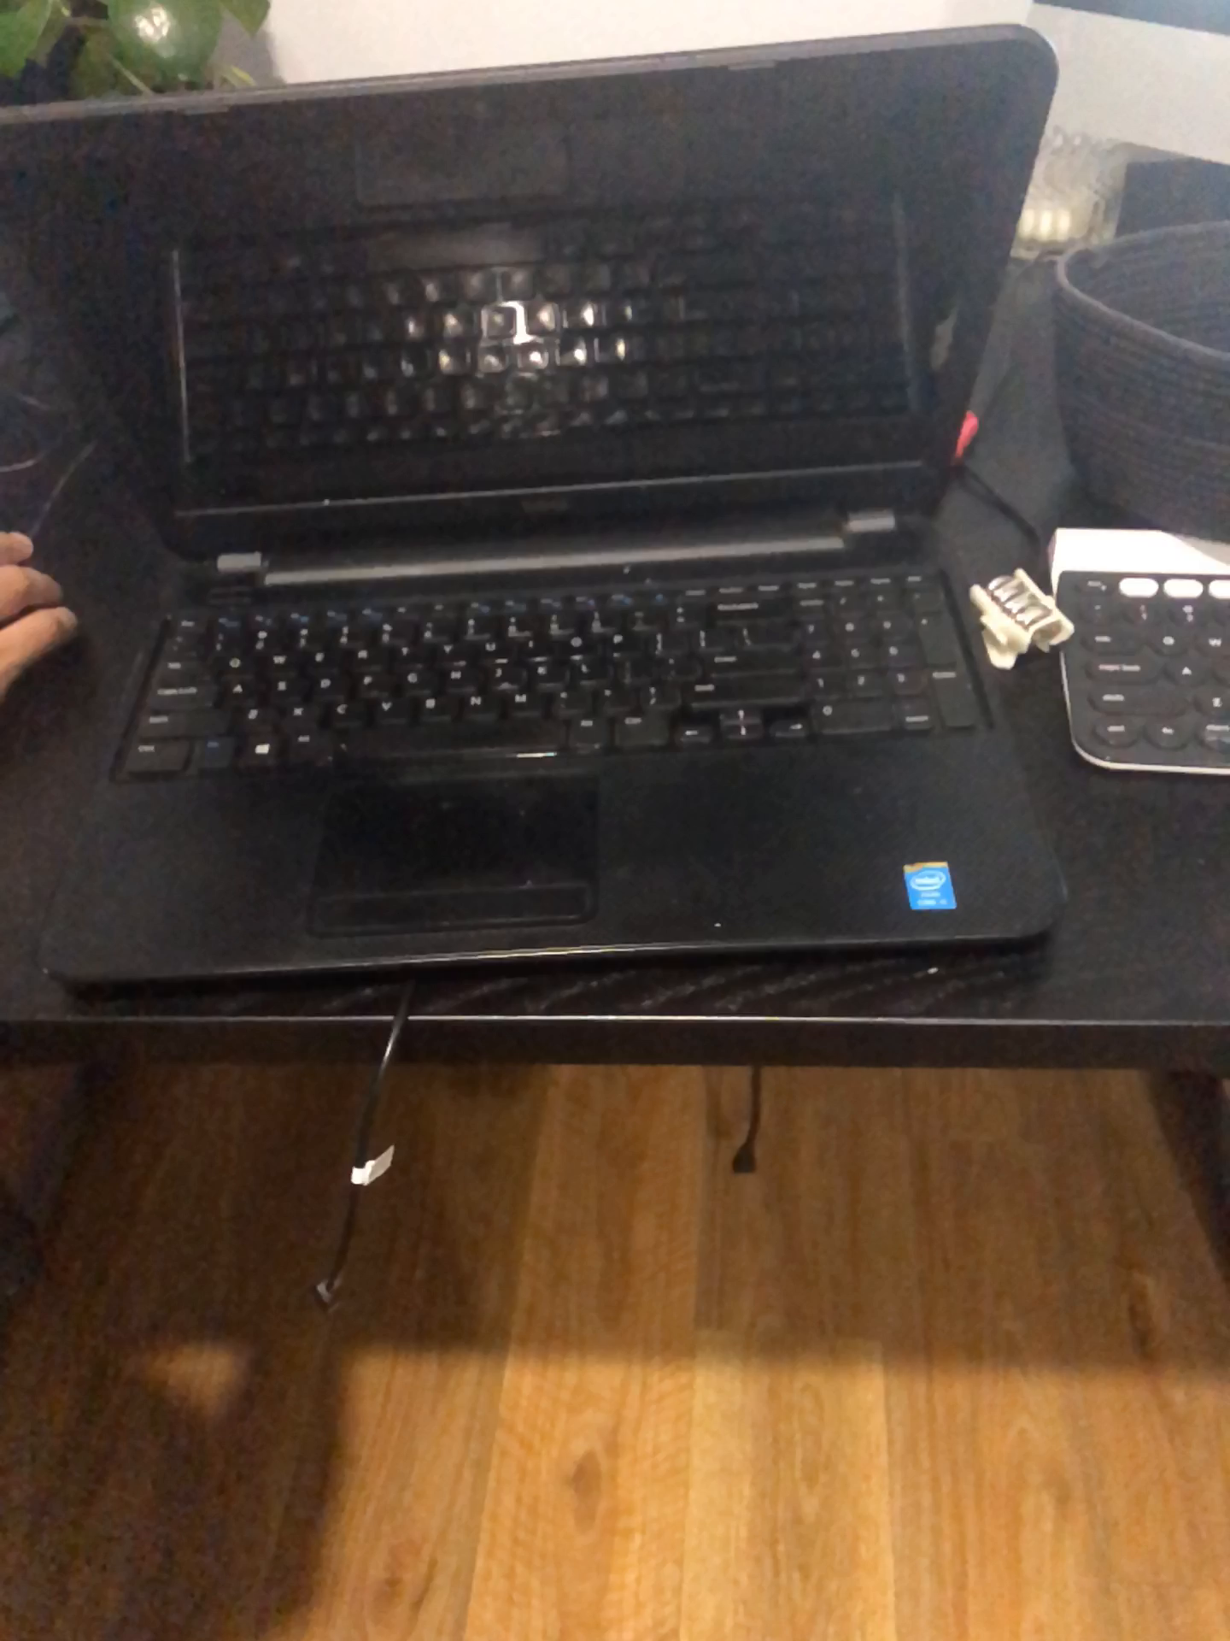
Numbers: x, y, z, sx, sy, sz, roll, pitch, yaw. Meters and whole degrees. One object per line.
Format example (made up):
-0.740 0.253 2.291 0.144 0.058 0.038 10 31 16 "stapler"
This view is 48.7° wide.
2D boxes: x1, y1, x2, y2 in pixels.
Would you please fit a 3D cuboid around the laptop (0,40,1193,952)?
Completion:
-0.042 -0.109 0.481 0.366 0.210 0.207 -2 46 4 "laptop"
